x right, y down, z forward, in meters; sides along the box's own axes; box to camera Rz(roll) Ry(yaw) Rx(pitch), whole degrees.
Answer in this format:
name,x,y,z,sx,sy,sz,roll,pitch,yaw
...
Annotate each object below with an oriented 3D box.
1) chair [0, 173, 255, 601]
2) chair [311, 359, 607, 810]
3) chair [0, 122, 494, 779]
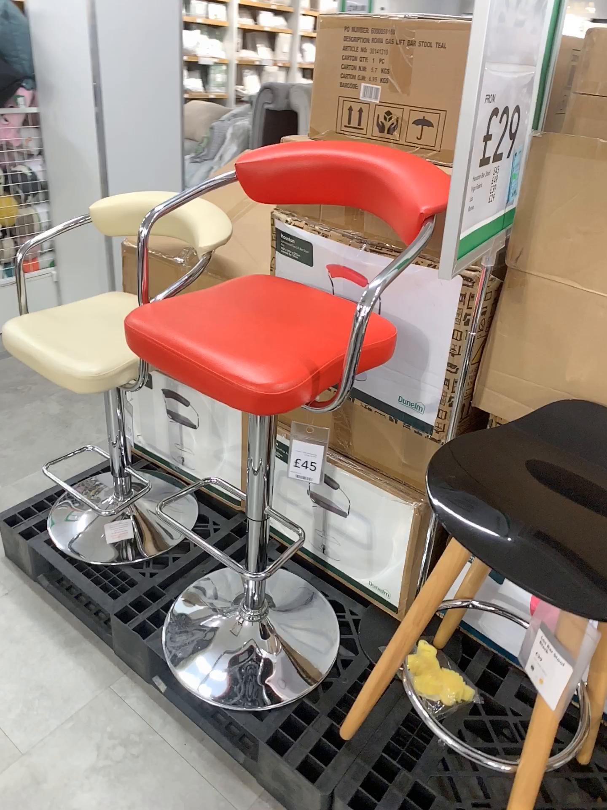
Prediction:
name,x,y,z,sx,sy,sz,roll,pitch,yaw
chair,-0.476,-0.076,1.537,0.497,0.838,0.461,24,34,31
chair,0.330,0.371,1.040,0.427,0.710,0.390,25,35,32
chair,-0.103,0.037,1.166,0.527,0.977,0.531,24,34,31
